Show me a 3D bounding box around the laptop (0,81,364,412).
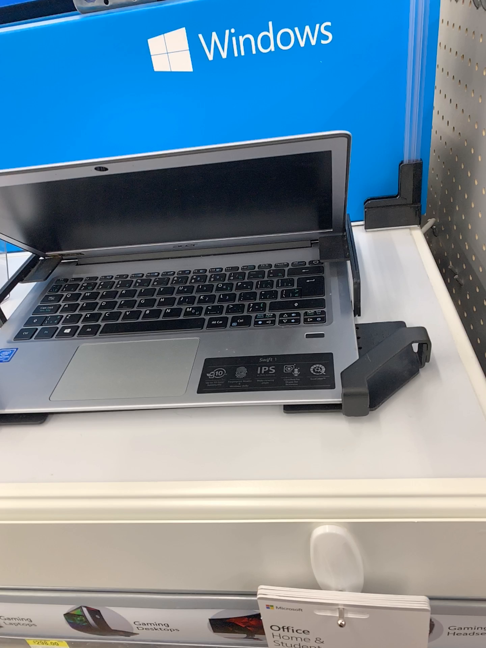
[{"bbox_3d":[-0.076,-0.062,0.381,0.307,0.140,0.198,-3,38,10],"label":"laptop"}]
